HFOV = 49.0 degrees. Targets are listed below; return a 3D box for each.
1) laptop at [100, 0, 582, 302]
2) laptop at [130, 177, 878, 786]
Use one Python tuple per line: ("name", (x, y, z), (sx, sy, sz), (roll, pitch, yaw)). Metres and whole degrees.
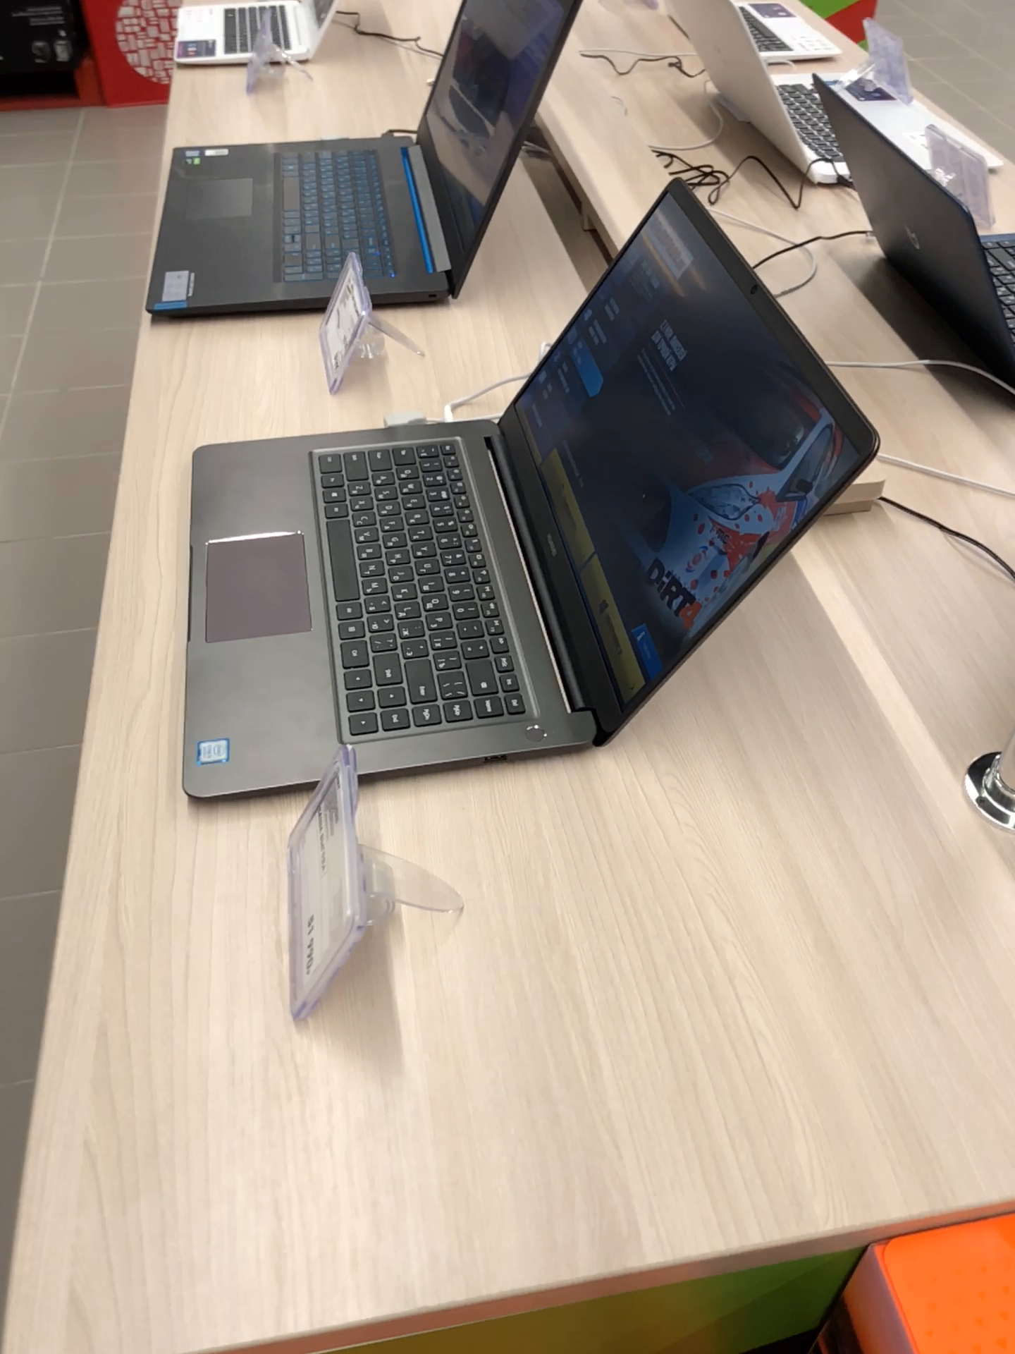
("laptop", (-0.158, -0.583, 1.103), (0.378, 0.242, 0.393), (-5, 44, -6))
("laptop", (-0.025, -0.147, 0.707), (0.357, 0.180, 0.346), (-8, 45, -8))
